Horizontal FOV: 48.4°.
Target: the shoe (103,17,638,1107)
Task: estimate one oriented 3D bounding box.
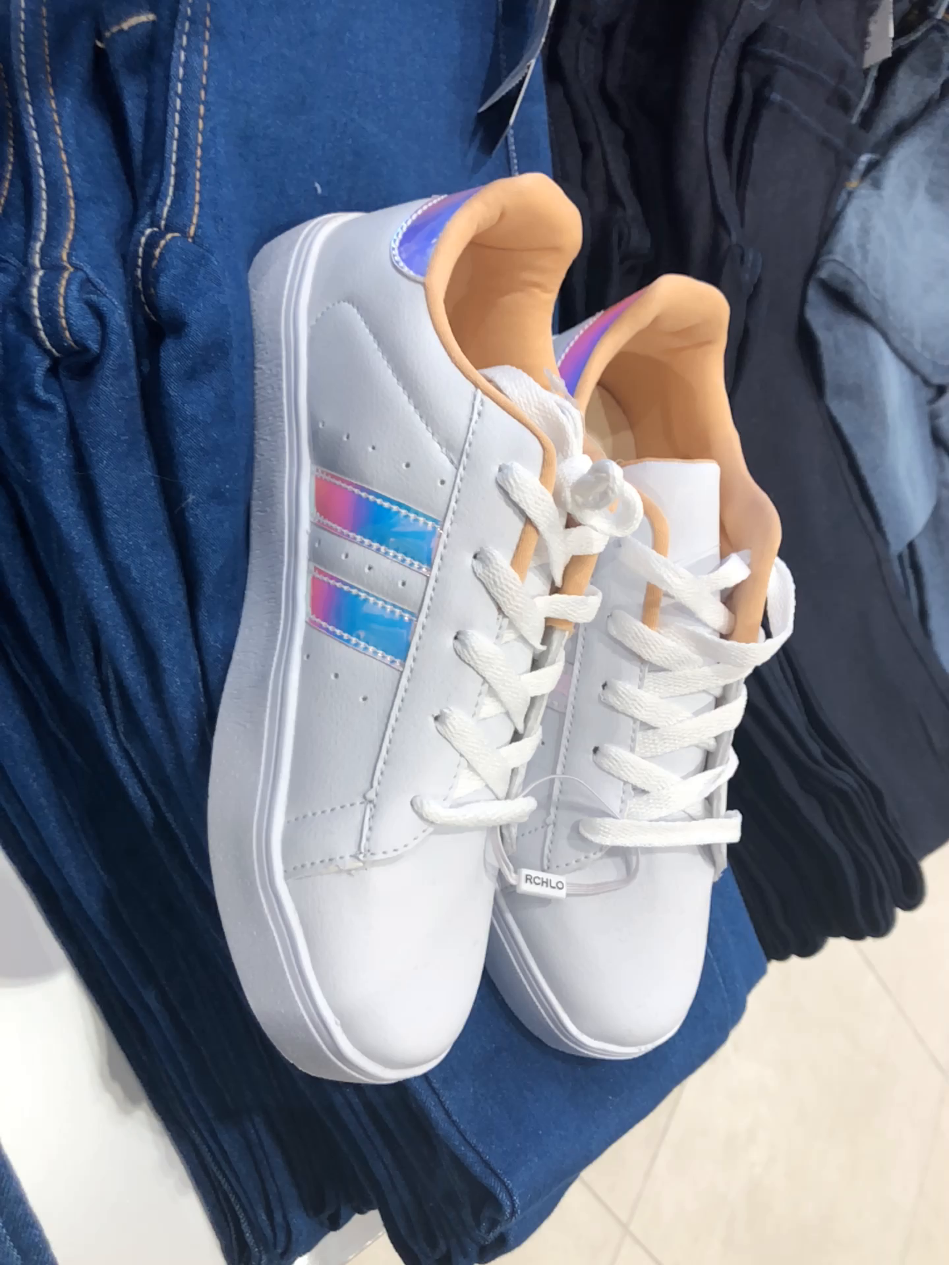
[{"bbox_3d":[-0.031,-0.015,0.310,0.091,0.109,0.260,14,70,-51],"label":"shoe"}]

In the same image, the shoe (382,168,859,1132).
[{"bbox_3d":[0.037,0.007,0.348,0.091,0.109,0.260,6,75,-32],"label":"shoe"}]
